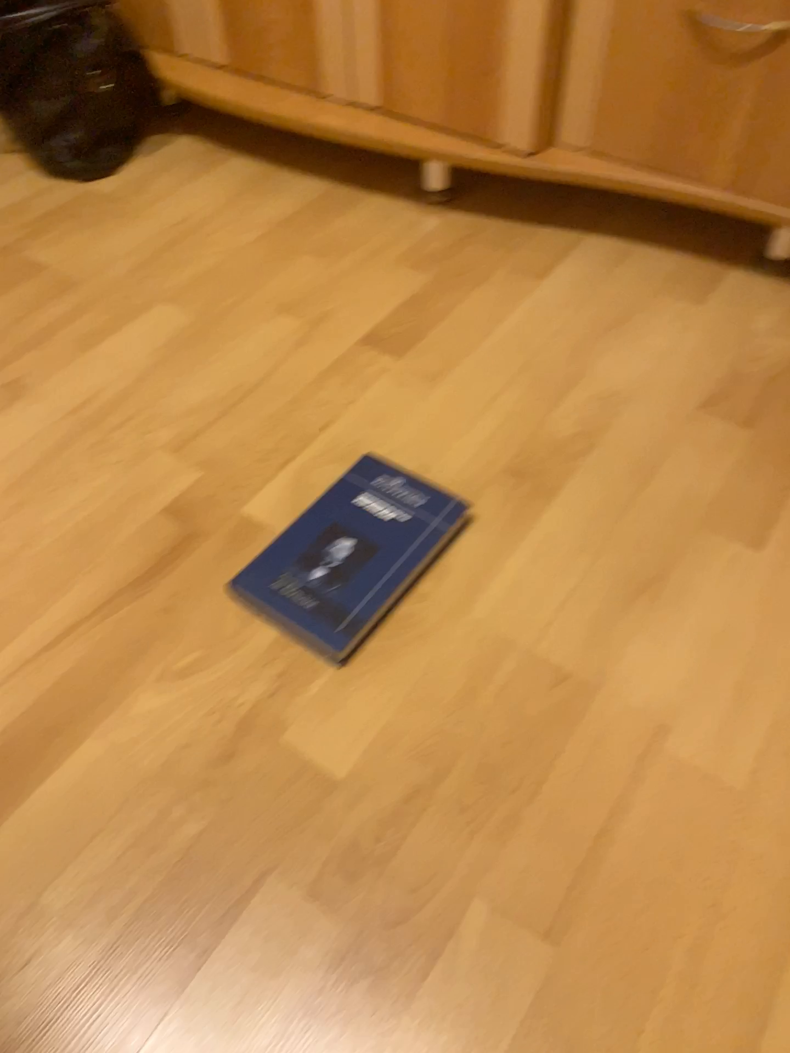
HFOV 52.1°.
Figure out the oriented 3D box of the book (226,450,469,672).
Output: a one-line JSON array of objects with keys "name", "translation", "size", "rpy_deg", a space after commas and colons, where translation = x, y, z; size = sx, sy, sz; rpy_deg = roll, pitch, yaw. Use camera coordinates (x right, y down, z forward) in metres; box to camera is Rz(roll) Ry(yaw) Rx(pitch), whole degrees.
[{"name": "book", "translation": [-0.040, 0.023, 0.756], "size": [0.128, 0.030, 0.201], "rpy_deg": [28, 57, 24]}]
